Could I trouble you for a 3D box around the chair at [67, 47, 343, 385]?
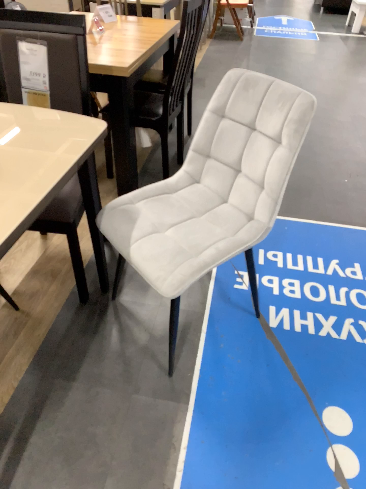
[{"bbox_3d":[0.043,-0.089,1.343,0.602,0.974,0.481,-24,47,-28],"label":"chair"}]
